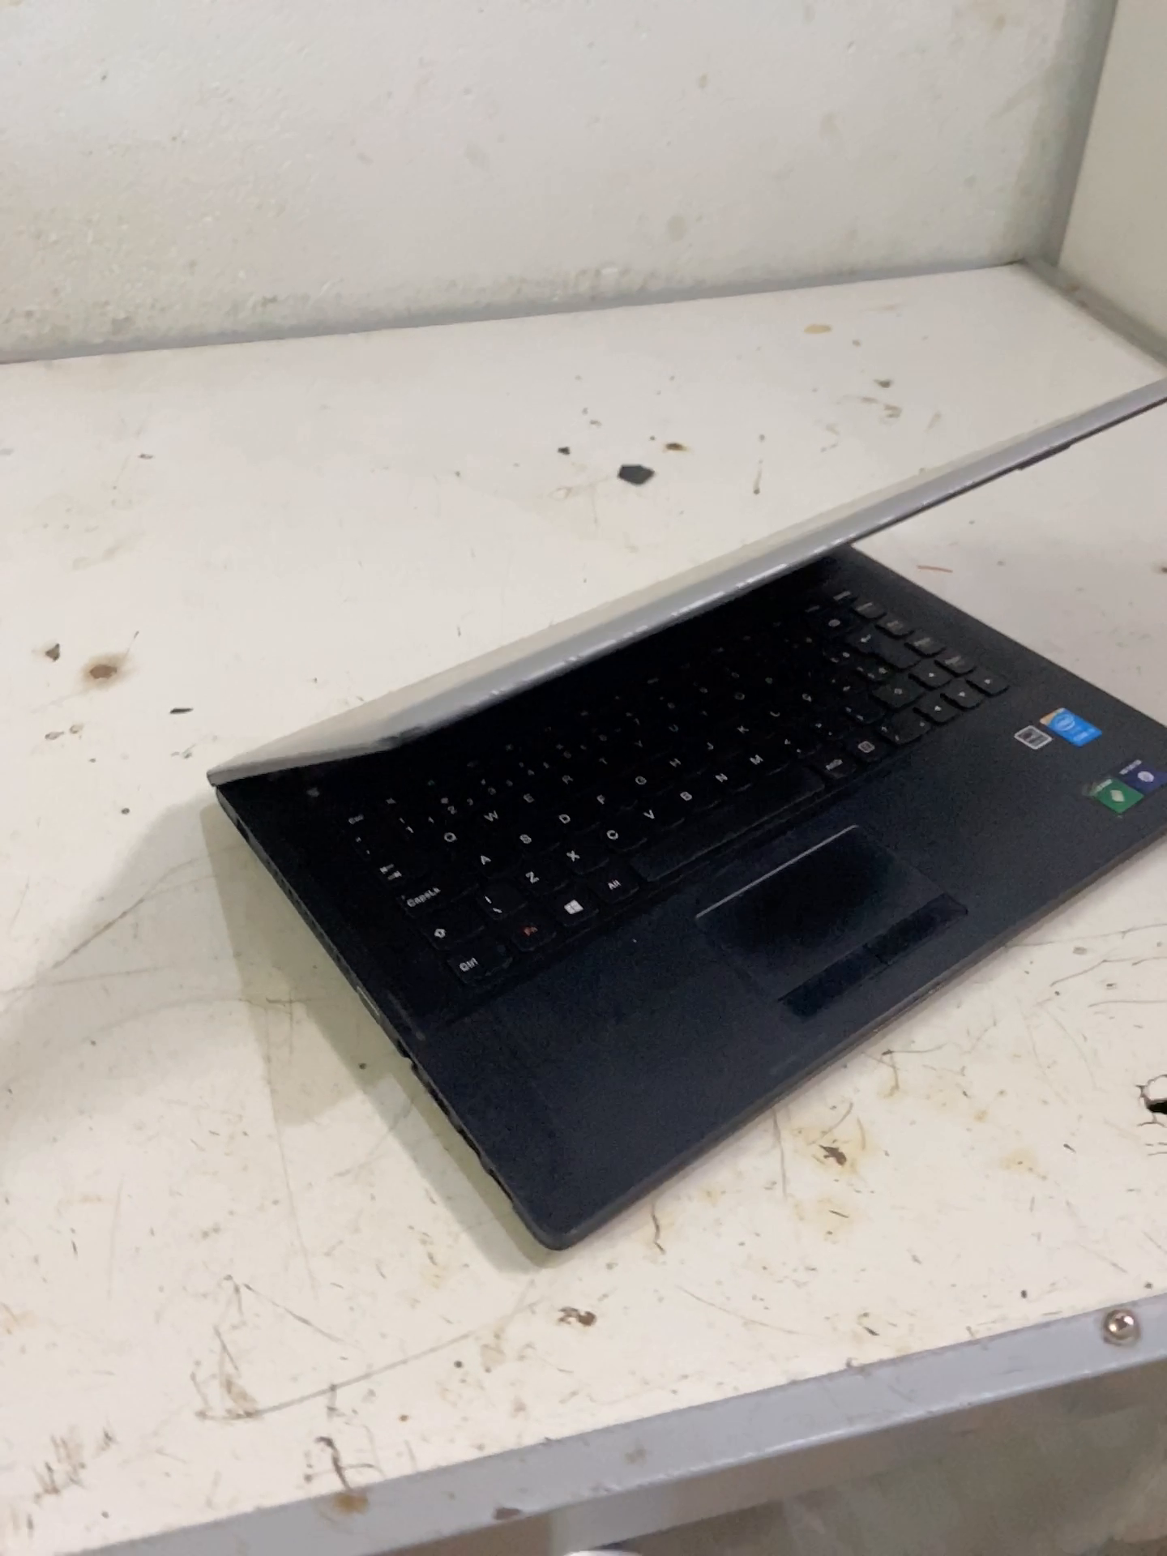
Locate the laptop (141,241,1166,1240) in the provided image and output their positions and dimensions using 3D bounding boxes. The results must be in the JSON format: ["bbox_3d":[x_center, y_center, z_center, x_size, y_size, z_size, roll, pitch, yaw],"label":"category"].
[{"bbox_3d":[0.064,-0.057,0.449,0.345,0.148,0.245,-26,47,-26],"label":"laptop"}]
